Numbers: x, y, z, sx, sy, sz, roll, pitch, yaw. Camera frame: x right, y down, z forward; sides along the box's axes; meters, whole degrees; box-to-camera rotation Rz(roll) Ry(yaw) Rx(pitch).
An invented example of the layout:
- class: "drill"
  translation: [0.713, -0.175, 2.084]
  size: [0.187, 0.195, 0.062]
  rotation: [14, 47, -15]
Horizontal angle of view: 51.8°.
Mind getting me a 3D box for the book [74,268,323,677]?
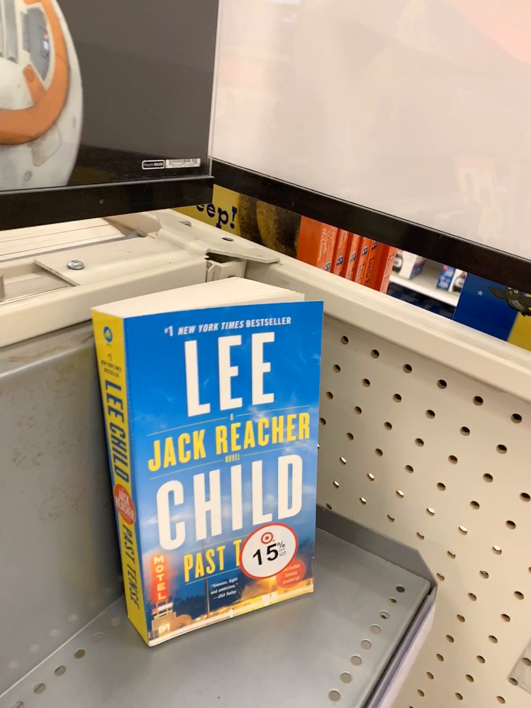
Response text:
- class: "book"
  translation: [-0.033, 0.056, 0.325]
  size: [0.110, 0.197, 0.080]
  rotation: [-14, 20, -40]
